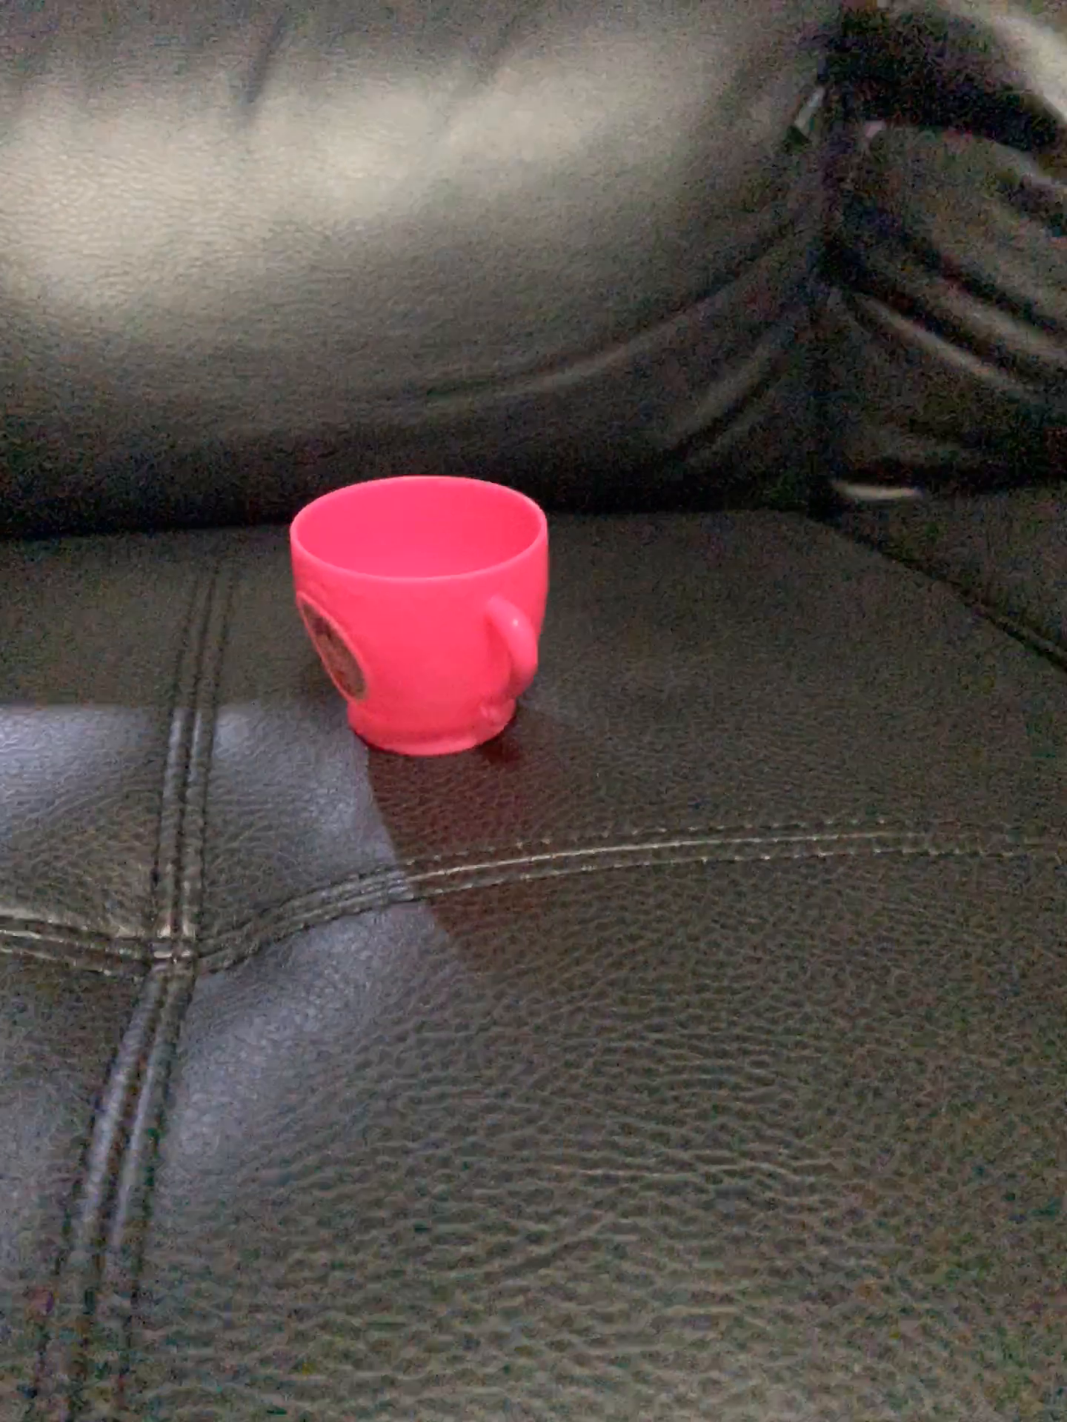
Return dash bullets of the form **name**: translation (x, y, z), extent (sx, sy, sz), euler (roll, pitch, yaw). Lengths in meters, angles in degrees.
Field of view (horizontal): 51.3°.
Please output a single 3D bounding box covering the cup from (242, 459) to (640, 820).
- **cup**: translation (-0.023, -0.022, 0.259), extent (0.061, 0.047, 0.073), euler (-17, 34, -28)
